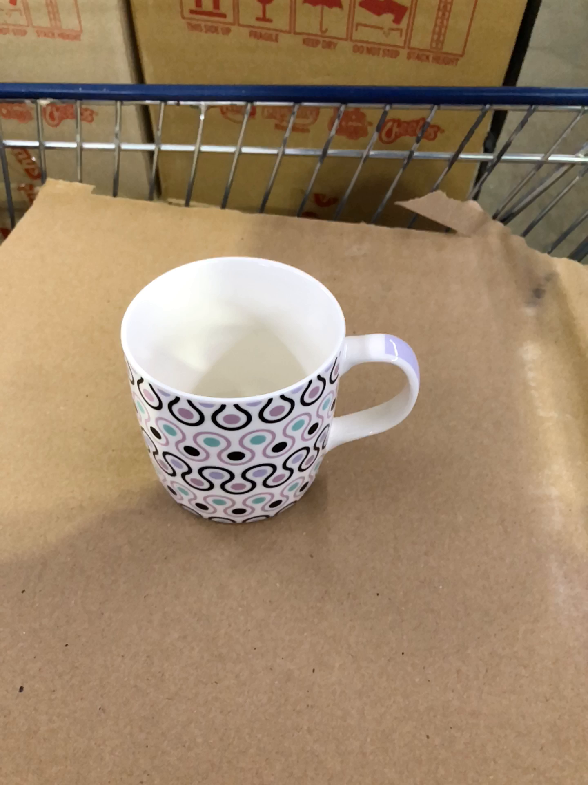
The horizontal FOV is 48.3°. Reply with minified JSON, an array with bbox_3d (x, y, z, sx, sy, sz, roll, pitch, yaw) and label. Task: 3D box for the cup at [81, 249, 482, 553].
[{"bbox_3d":[-0.005,0.004,0.292,0.140,0.090,0.090,3,46,0],"label":"cup"}]
